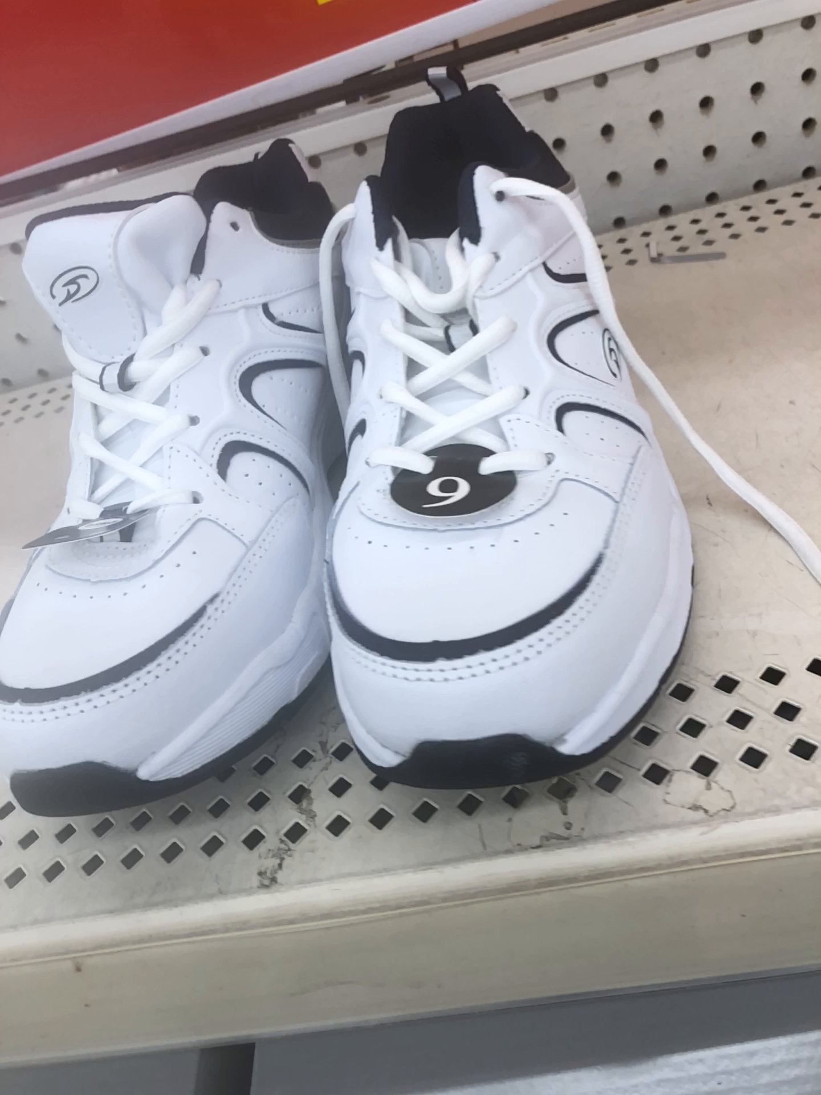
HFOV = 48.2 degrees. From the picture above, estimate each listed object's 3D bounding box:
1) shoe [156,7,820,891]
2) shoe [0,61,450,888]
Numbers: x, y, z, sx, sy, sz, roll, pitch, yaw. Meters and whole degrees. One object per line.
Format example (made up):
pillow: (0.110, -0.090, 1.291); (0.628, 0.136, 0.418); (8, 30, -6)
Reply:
shoe: (0.031, -0.052, 0.279); (0.110, 0.119, 0.261); (-9, 41, 11)
shoe: (-0.064, -0.043, 0.299); (0.110, 0.119, 0.261); (-6, 42, 14)
